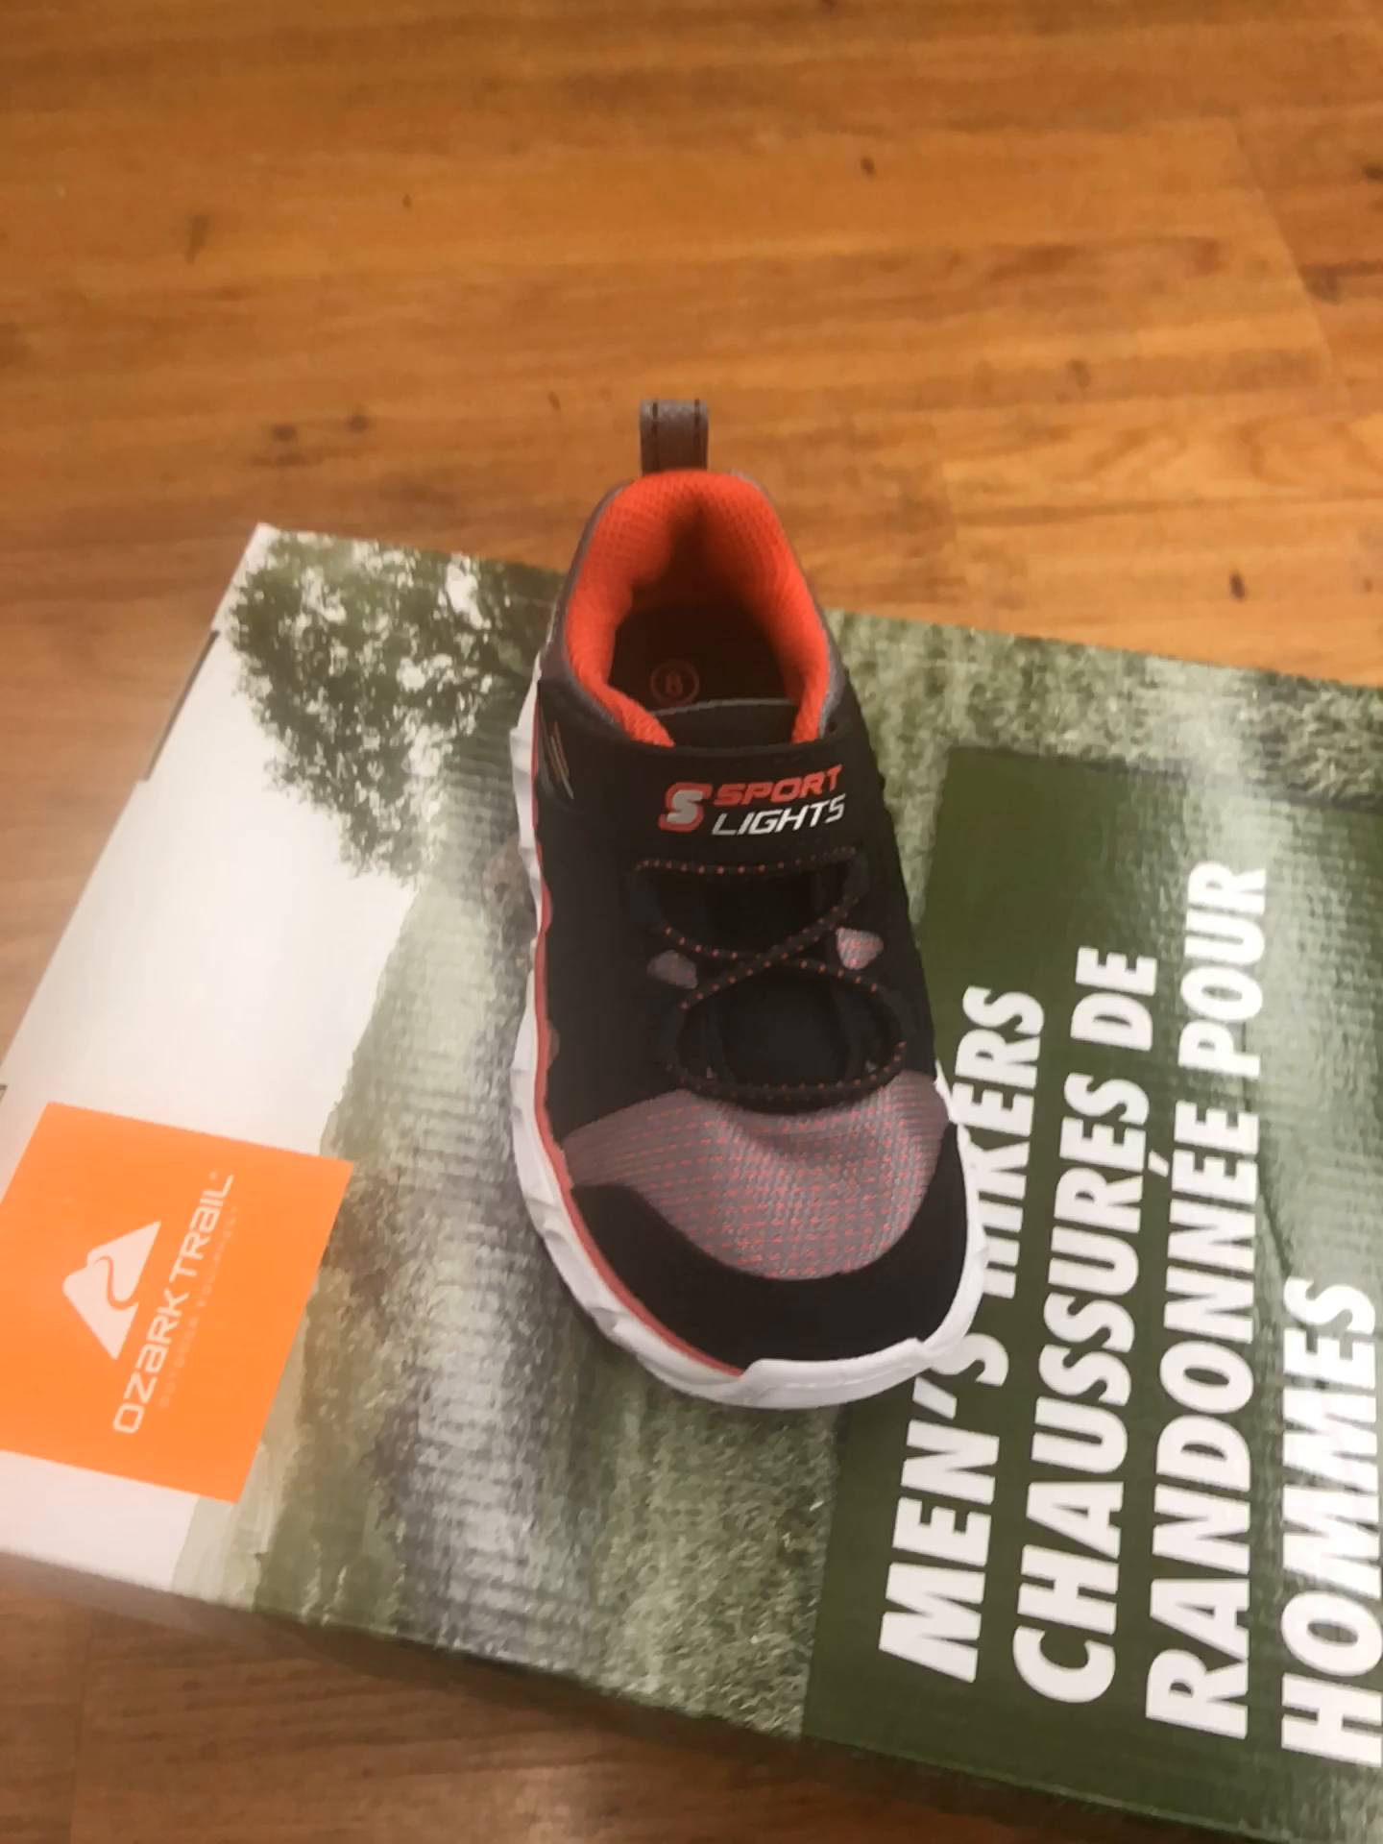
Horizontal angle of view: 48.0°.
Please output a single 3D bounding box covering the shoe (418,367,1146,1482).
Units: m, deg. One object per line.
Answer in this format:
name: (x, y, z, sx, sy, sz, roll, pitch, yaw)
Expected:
shoe: (0.005, -0.002, 0.279, 0.090, 0.090, 0.170, -6, 58, -2)
